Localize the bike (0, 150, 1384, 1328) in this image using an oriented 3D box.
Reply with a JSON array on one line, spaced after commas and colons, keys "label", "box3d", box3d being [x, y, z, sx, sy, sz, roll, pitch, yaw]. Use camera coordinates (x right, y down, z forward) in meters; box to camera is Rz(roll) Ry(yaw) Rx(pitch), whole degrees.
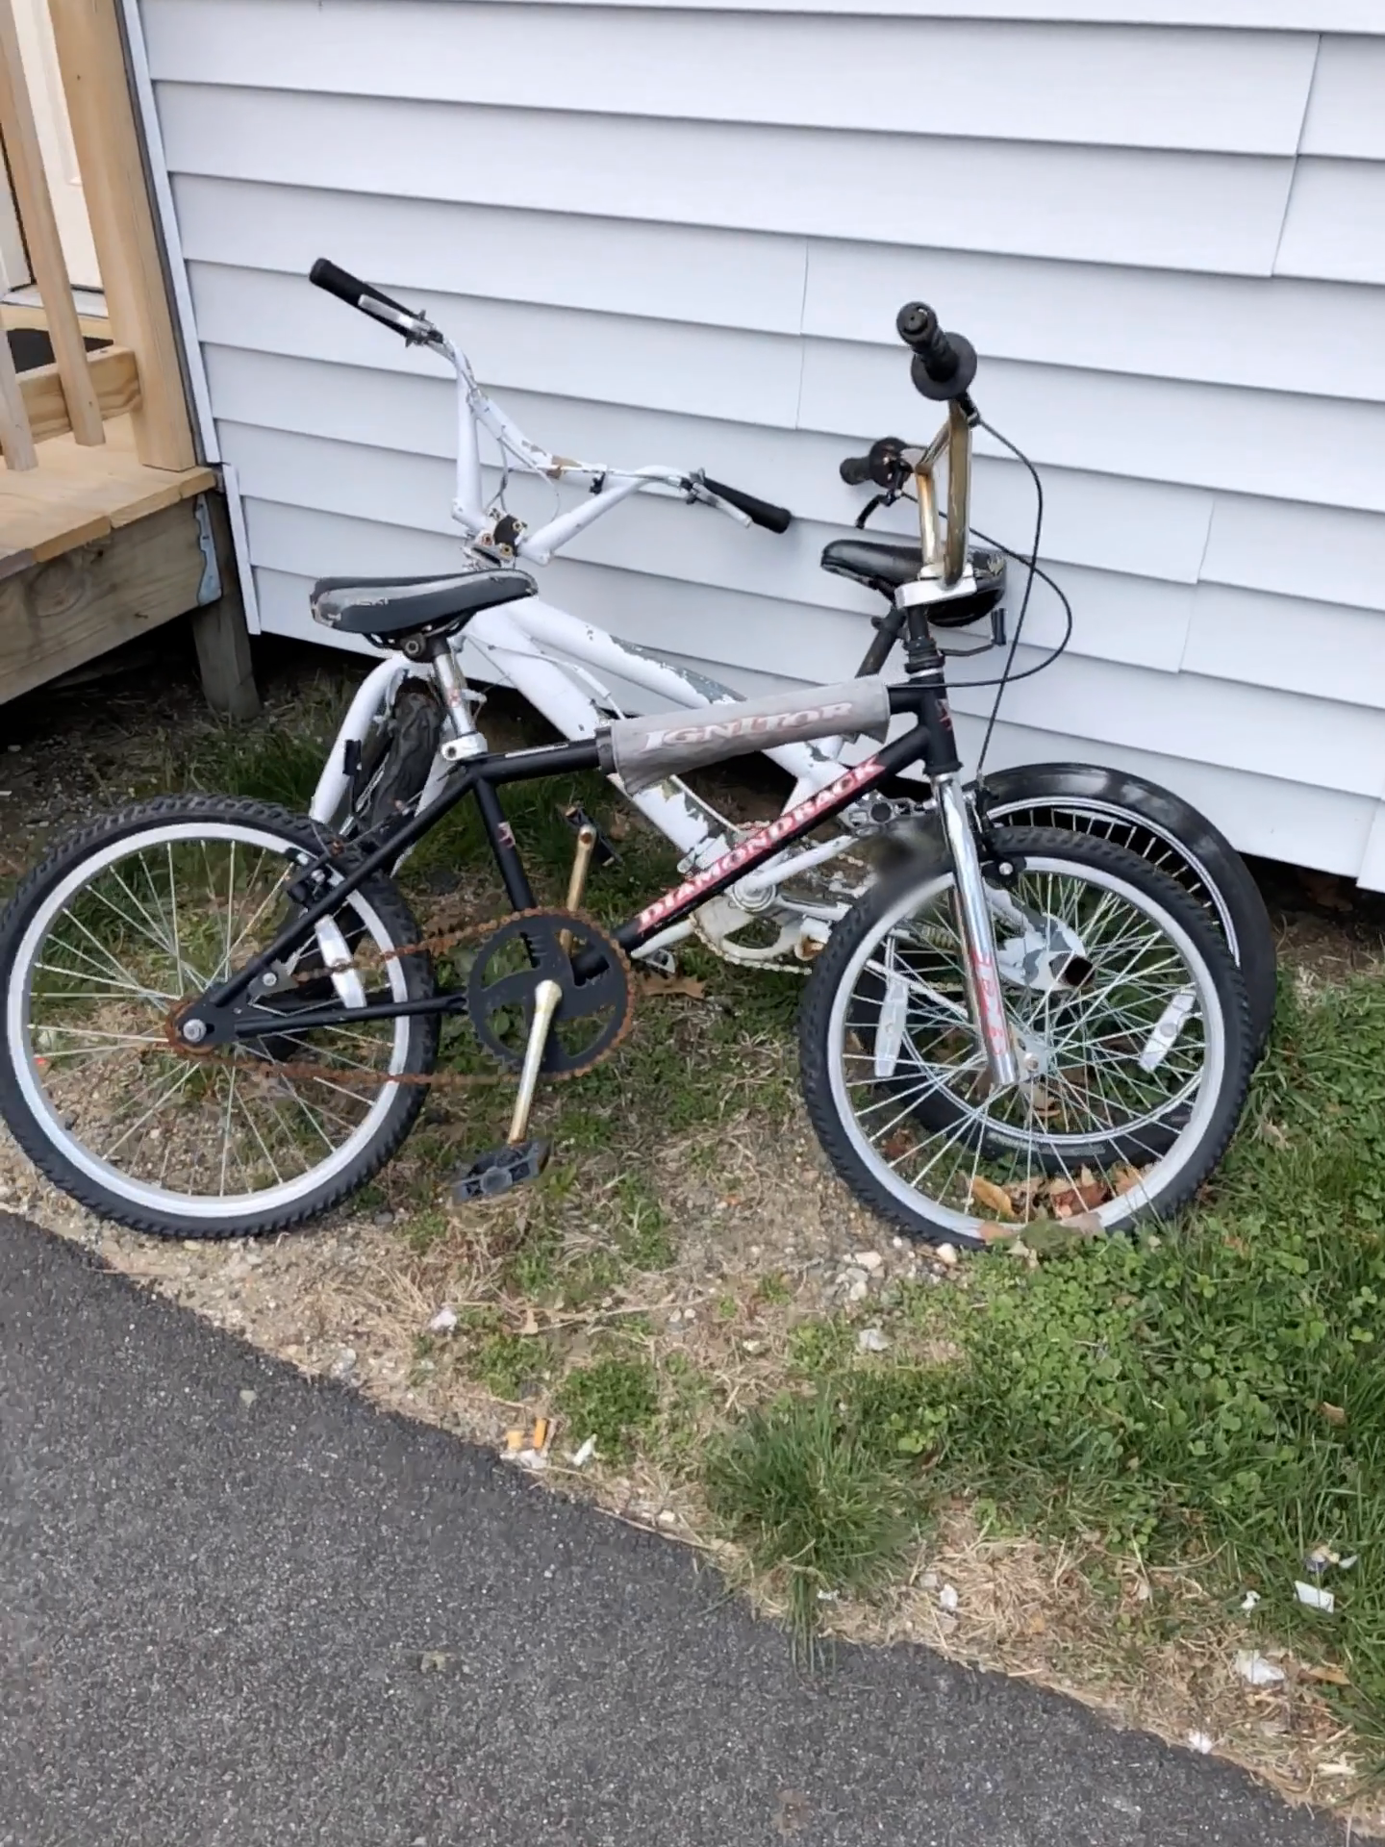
[{"label": "bike", "box3d": [-0.094, -0.219, 1.605, 1.294, 0.932, 0.762, -2, 34, -1]}]
